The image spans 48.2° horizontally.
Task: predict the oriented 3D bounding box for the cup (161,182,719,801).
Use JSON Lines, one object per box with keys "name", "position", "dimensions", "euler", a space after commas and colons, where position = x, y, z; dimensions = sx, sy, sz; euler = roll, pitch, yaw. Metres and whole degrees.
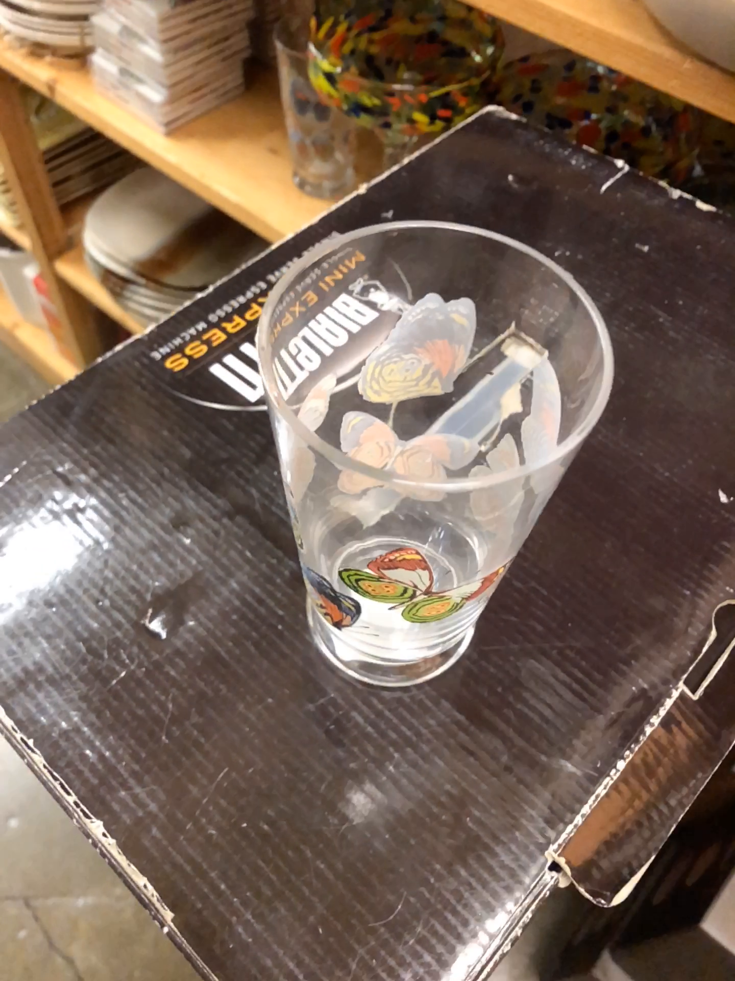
{"name": "cup", "position": [0.013, 0.009, 0.212], "dimensions": [0.079, 0.125, 0.075], "euler": [1, 56, -1]}
